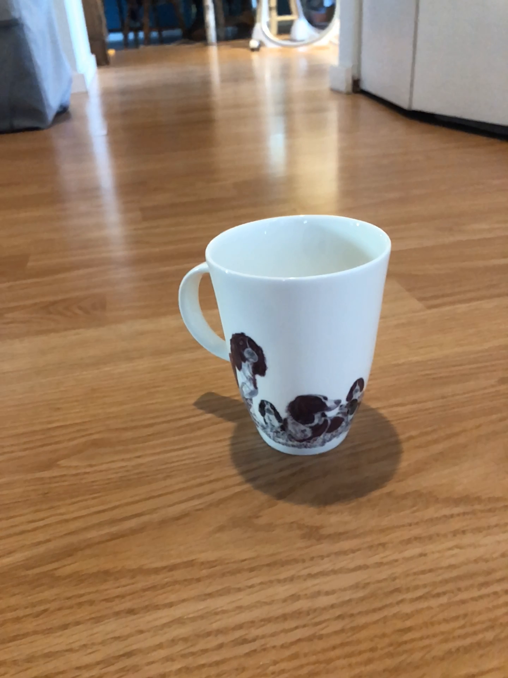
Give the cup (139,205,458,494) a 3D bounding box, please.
[{"bbox_3d":[0.024,-0.005,0.287,0.120,0.090,0.090,15,34,30],"label":"cup"}]
